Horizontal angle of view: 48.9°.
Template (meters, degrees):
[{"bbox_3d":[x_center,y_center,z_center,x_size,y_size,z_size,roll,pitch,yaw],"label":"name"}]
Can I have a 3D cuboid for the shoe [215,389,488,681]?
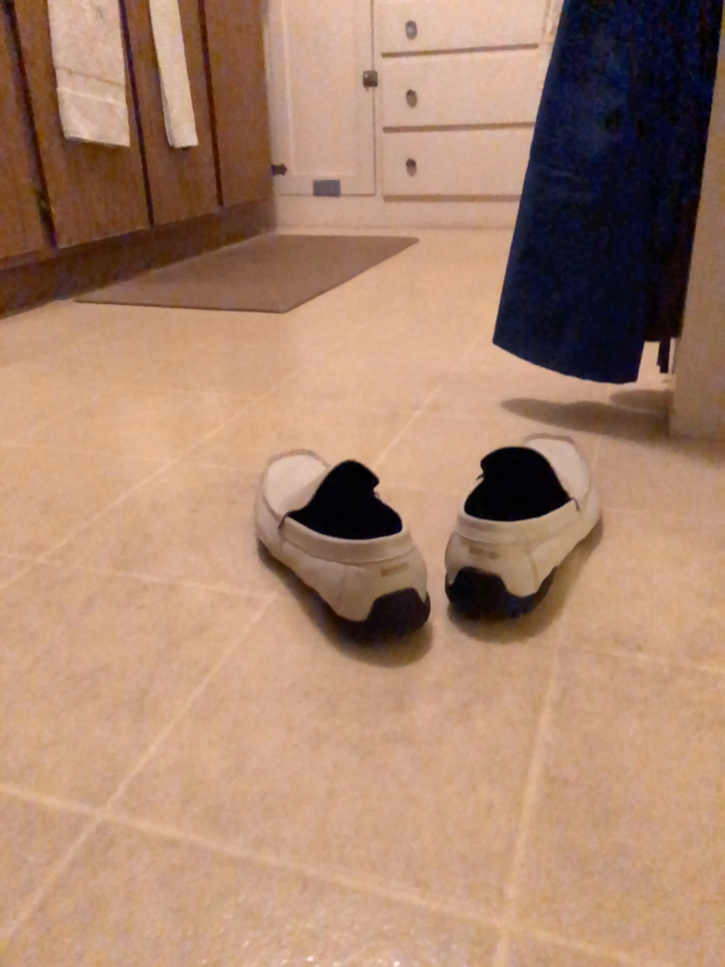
[{"bbox_3d":[-0.026,0.019,0.657,0.111,0.097,0.307,-12,26,-20],"label":"shoe"}]

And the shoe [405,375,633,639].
[{"bbox_3d":[0.145,0.000,0.682,0.110,0.097,0.291,10,27,24],"label":"shoe"}]
